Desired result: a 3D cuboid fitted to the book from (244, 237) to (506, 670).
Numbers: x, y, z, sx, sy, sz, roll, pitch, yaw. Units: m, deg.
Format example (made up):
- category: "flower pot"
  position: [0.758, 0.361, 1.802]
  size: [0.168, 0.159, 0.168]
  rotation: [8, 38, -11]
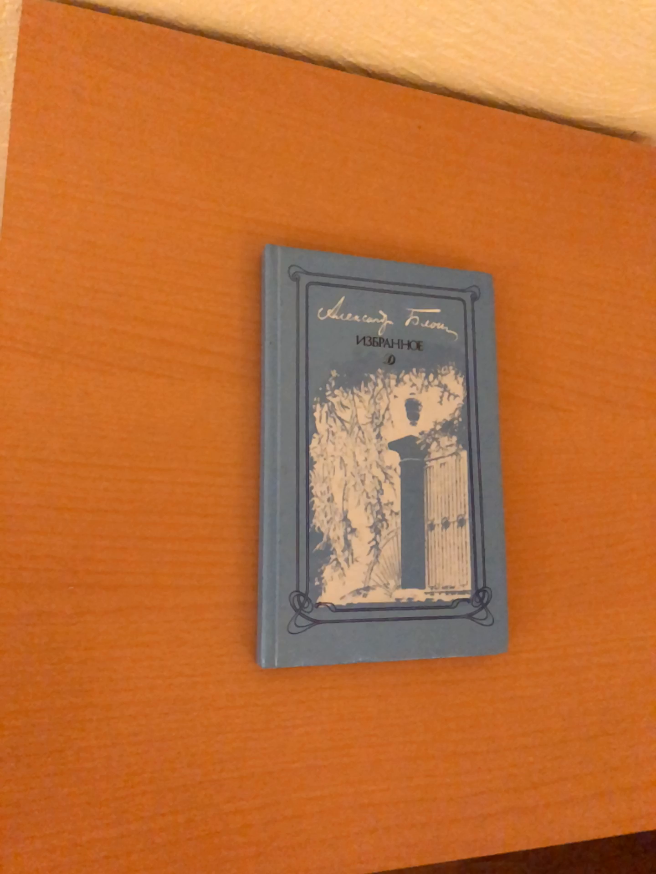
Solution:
- category: "book"
  position: [0.025, 0.007, 0.379]
  size: [0.135, 0.020, 0.210]
  rotation: [2, 81, -19]
